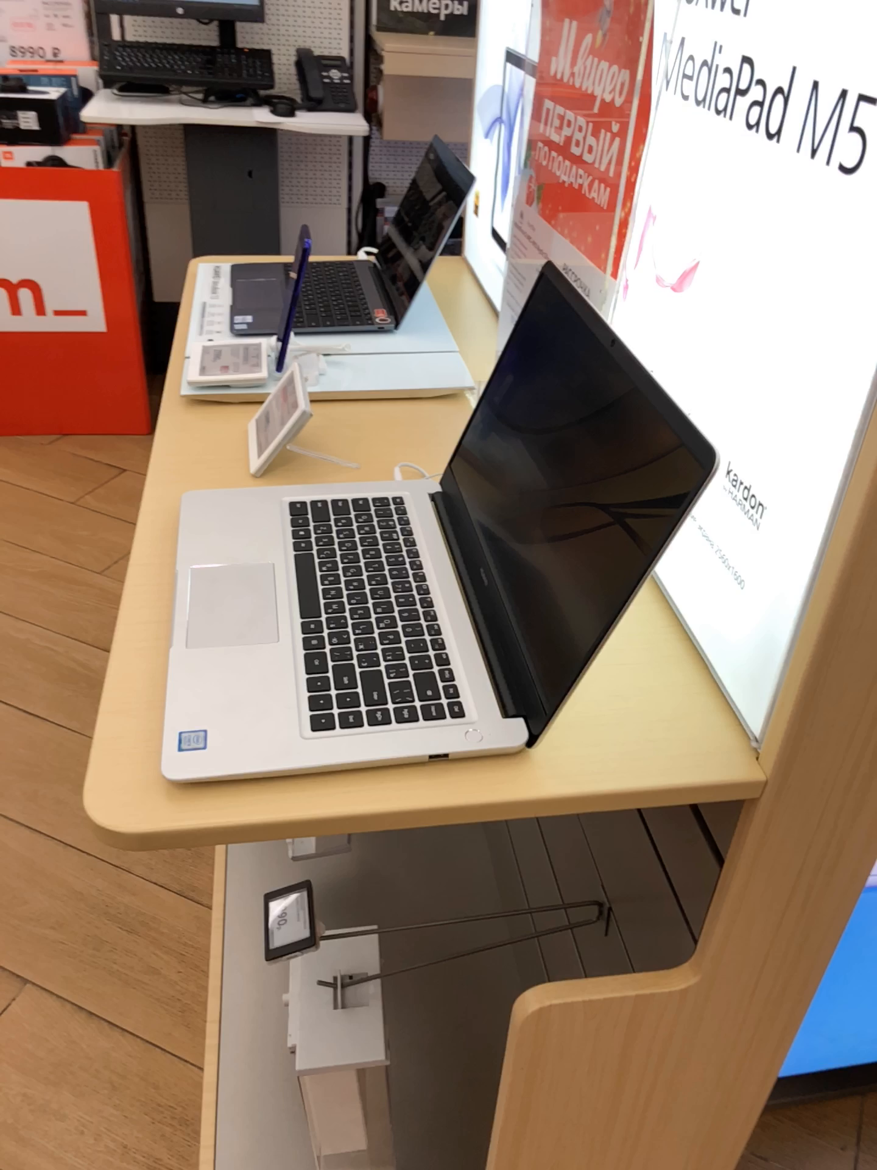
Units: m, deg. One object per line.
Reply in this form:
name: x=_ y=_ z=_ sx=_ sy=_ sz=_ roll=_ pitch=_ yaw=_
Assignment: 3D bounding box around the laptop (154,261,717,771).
laptop: x=-0.031 y=-0.078 z=0.702 sx=0.305 sy=0.204 sz=0.342 roll=-3 pitch=36 yaw=-11
